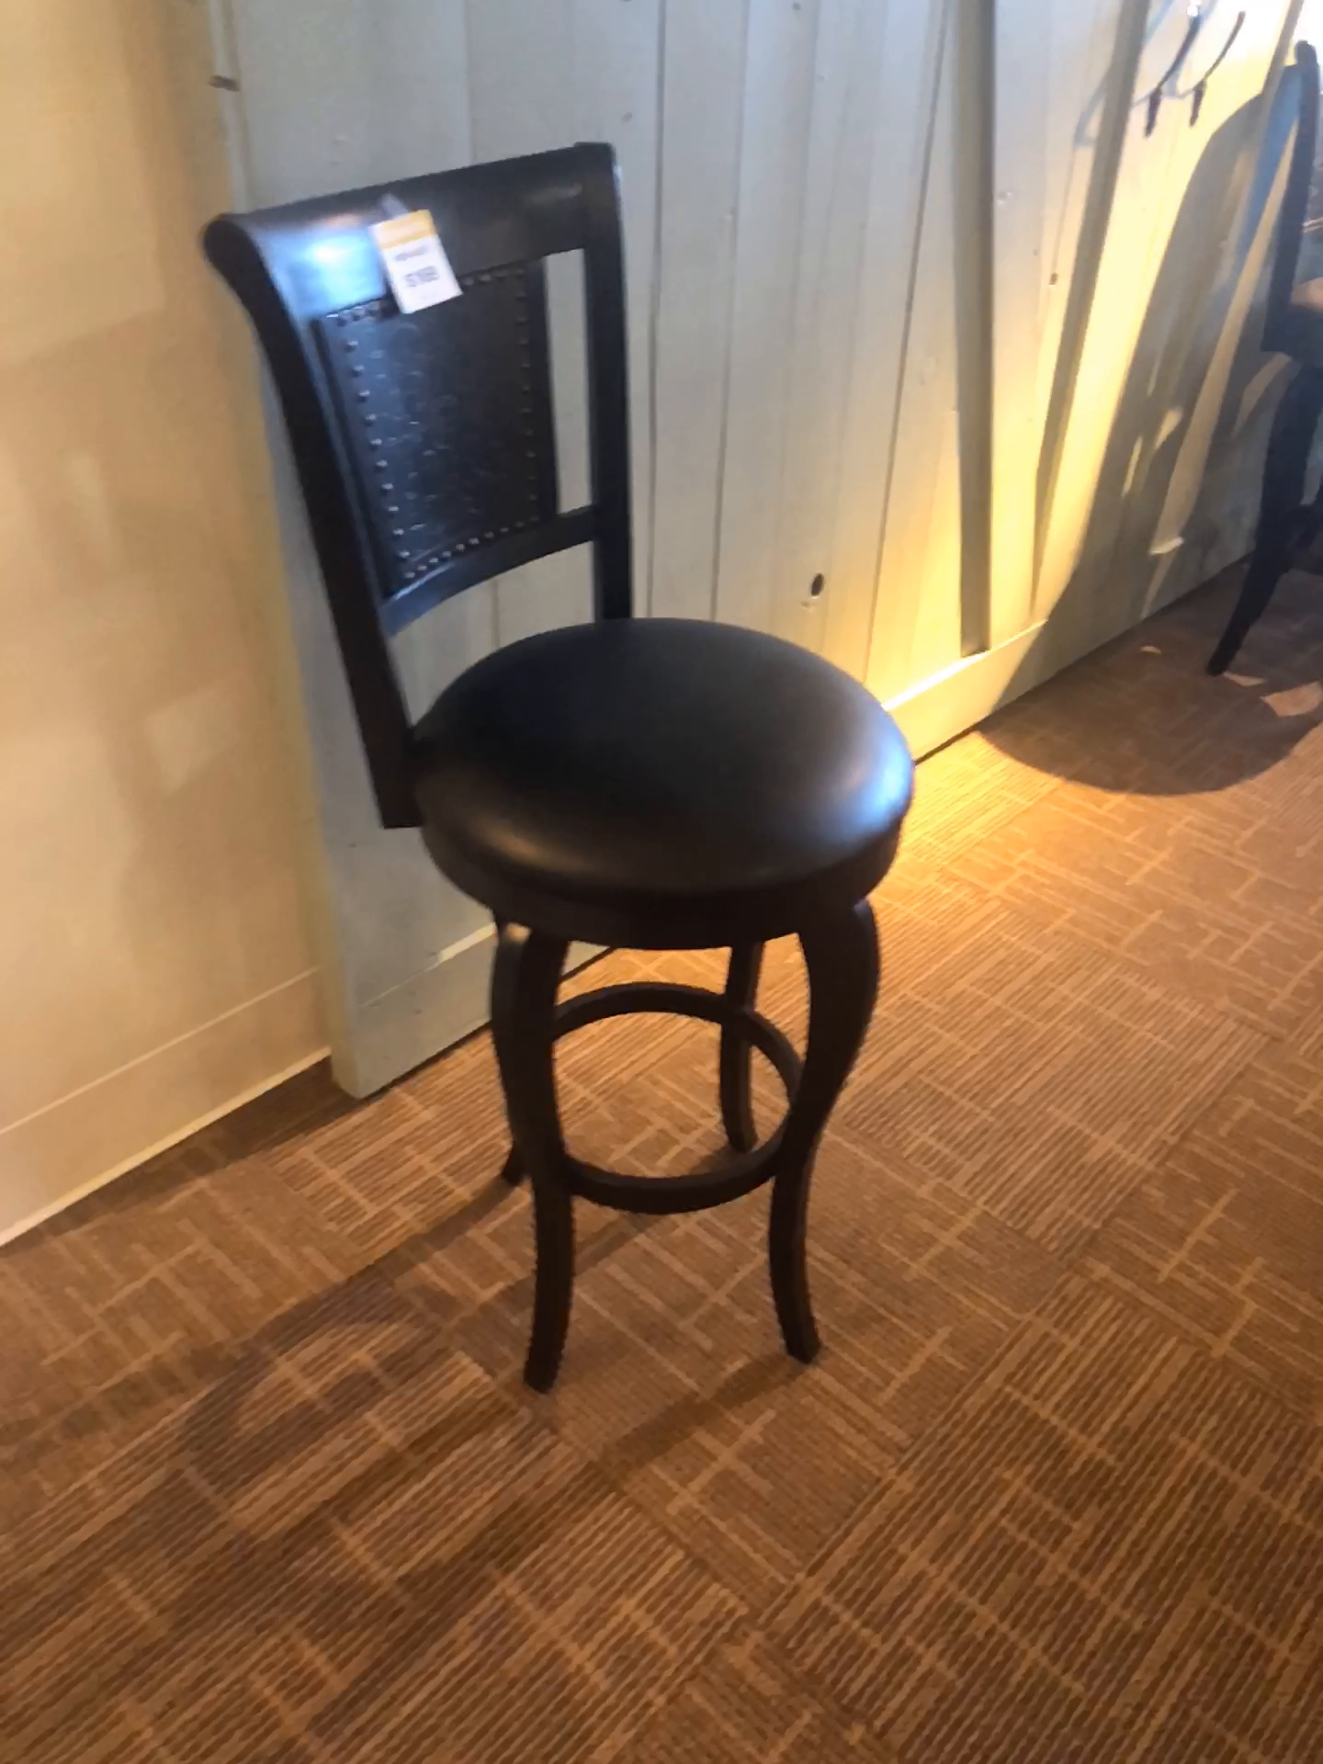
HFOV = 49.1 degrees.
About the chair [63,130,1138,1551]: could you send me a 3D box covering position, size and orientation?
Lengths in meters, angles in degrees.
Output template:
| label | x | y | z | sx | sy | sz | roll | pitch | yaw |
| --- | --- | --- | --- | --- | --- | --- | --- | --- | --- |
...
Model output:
| label | x | y | z | sx | sy | sz | roll | pitch | yaw |
| --- | --- | --- | --- | --- | --- | --- | --- | --- | --- |
| chair | -0.050 | -0.043 | 1.444 | 0.610 | 1.150 | 0.563 | 25 | 41 | 29 |
